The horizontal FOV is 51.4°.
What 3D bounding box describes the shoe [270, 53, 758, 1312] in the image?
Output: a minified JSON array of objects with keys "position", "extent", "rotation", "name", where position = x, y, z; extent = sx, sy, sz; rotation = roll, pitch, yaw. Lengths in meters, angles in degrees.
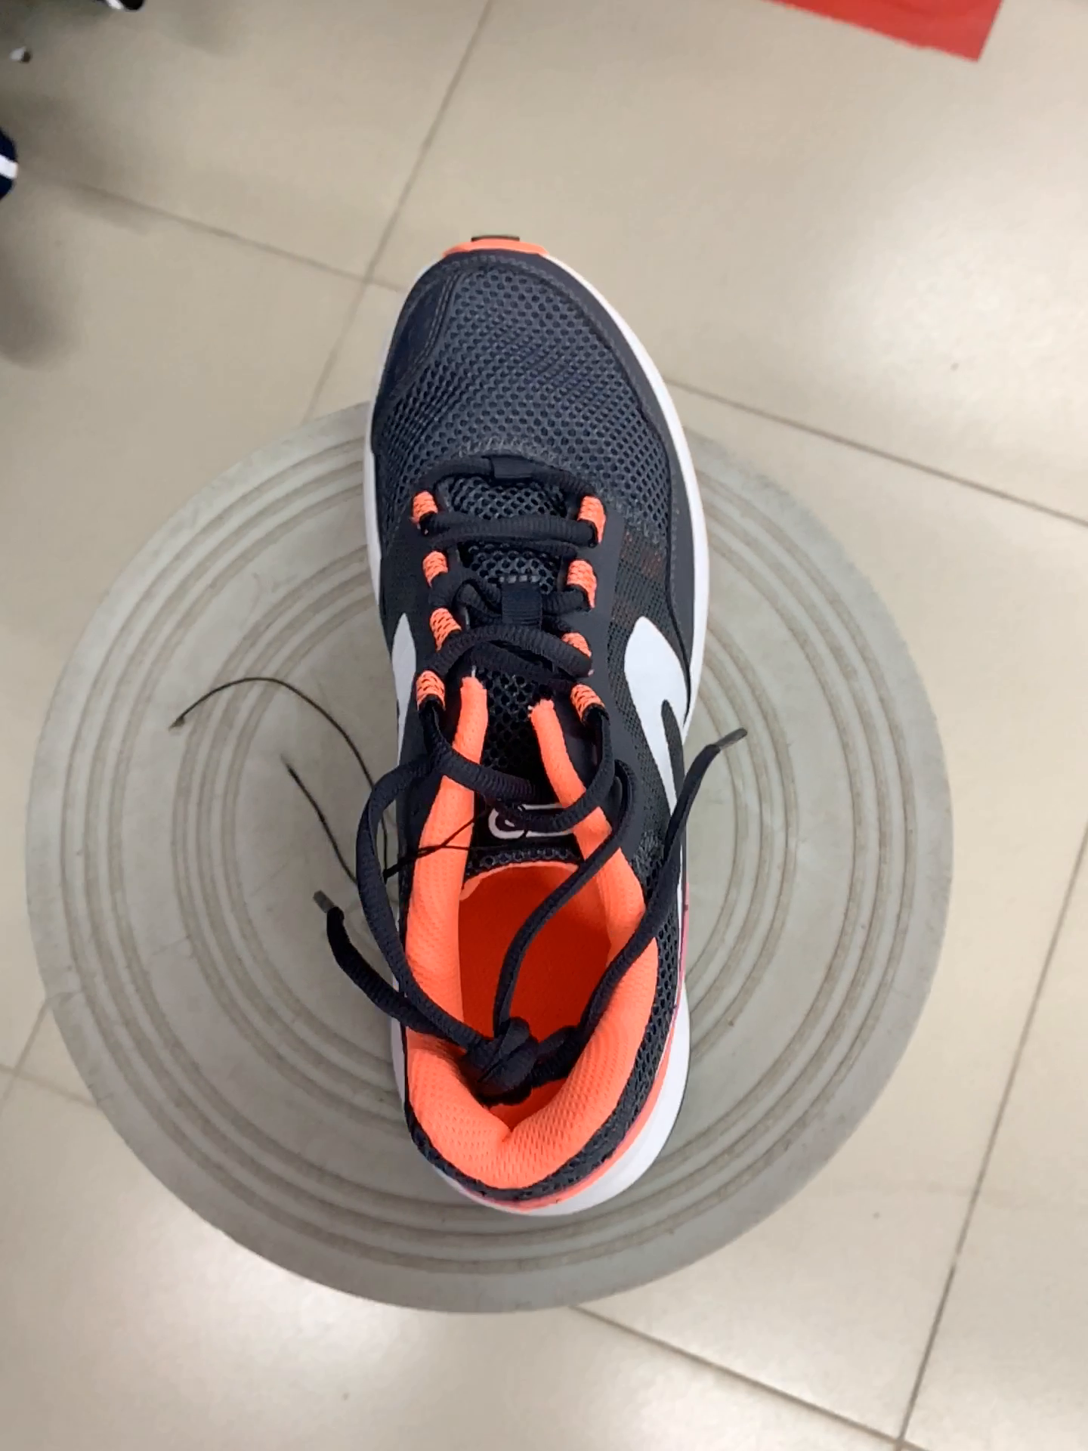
[{"position":[-0.007,-0.013,0.315],"extent":[0.100,0.120,0.290],"rotation":[-1,80,1],"name":"shoe"}]
